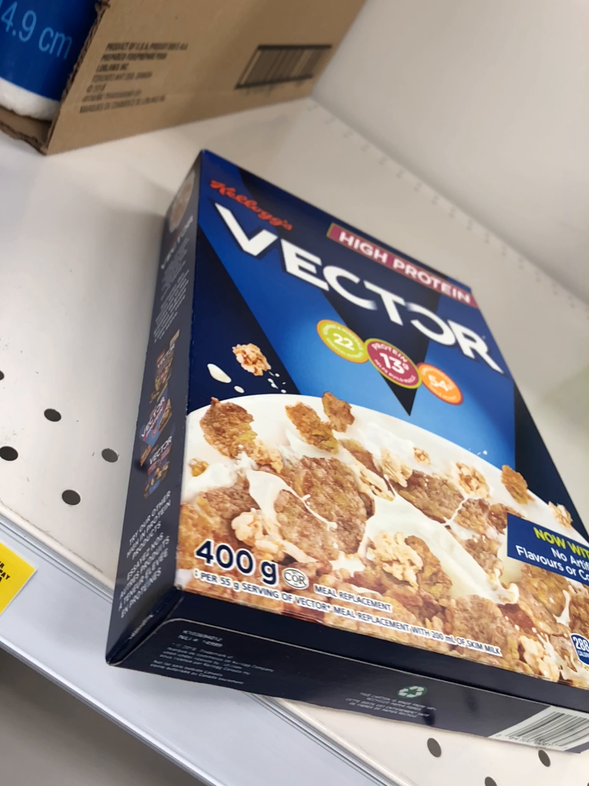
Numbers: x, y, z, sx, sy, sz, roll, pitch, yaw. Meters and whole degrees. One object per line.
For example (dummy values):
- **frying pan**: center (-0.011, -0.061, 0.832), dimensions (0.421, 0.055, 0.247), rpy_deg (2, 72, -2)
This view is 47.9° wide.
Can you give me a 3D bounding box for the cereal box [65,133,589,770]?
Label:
- **cereal box**: center (0.027, 0.002, 0.315), dimensions (0.211, 0.050, 0.291), rpy_deg (22, 34, -24)
